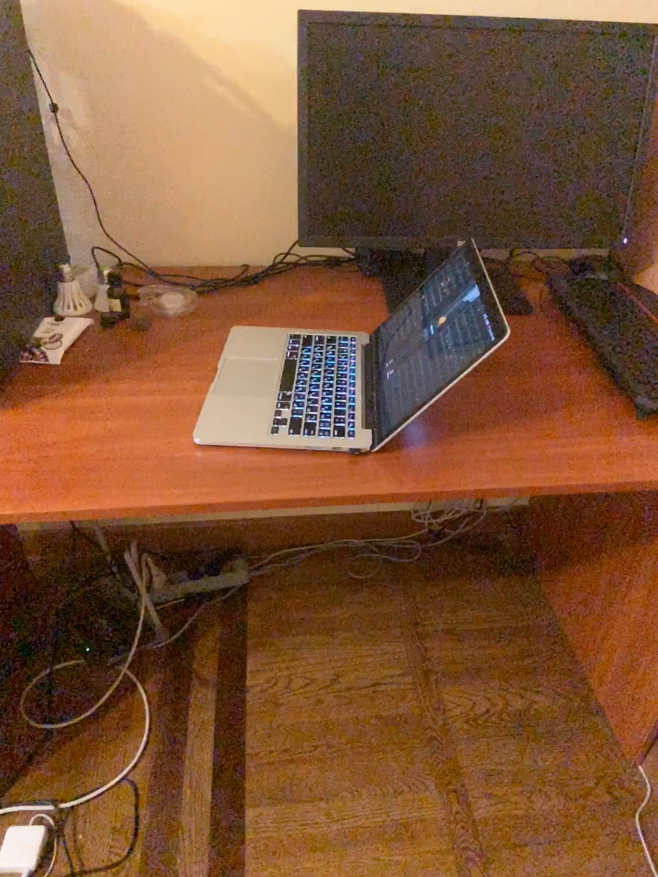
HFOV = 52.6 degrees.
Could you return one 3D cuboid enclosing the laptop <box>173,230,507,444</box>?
[{"bbox_3d":[0.015,-0.137,0.817,0.333,0.139,0.287,1,36,1],"label":"laptop"}]
